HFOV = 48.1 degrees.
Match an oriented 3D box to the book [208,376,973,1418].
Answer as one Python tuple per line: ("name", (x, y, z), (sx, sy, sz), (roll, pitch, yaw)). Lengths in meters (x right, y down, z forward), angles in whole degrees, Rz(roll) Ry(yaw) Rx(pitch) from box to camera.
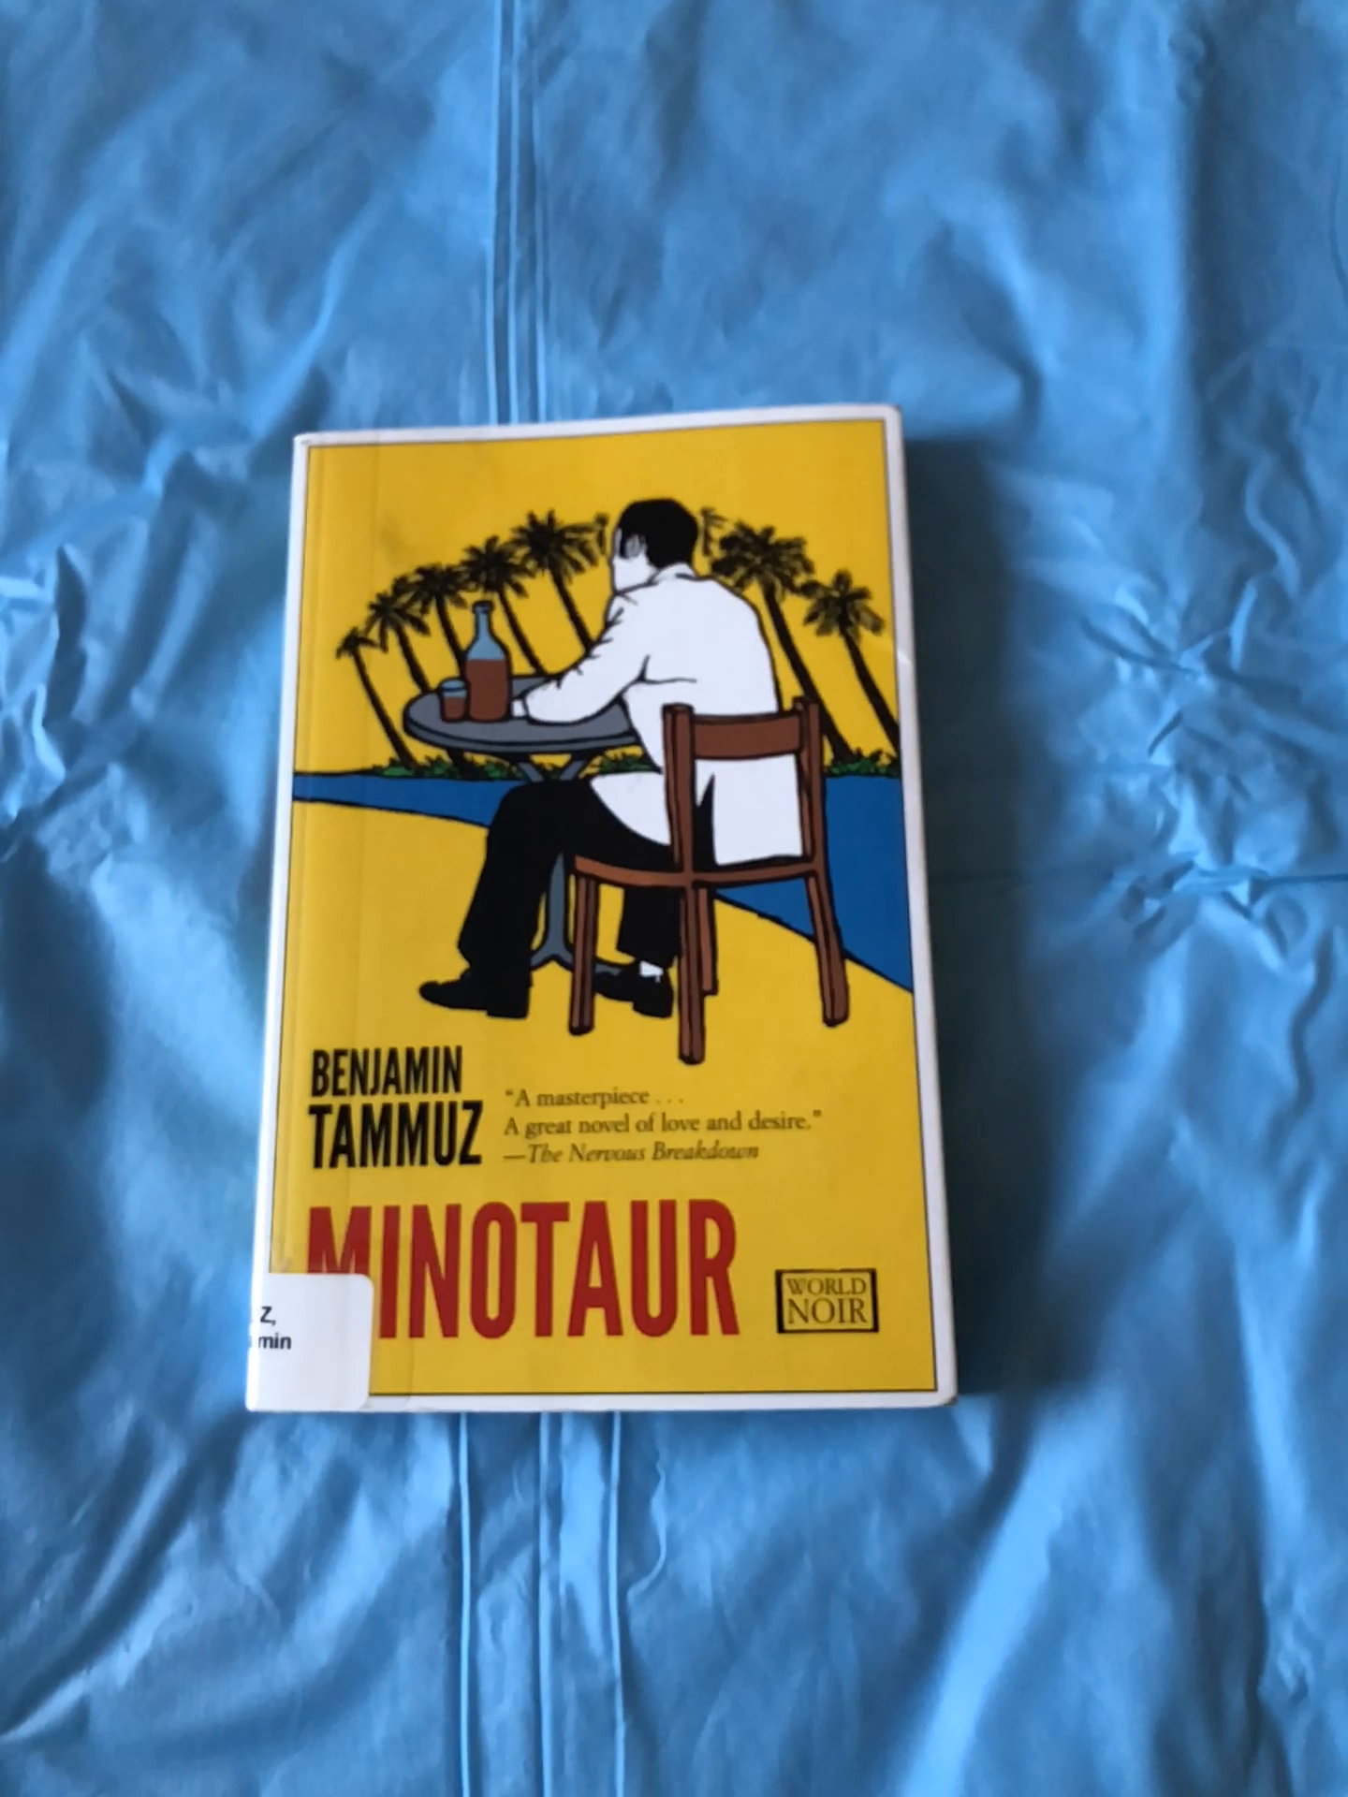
("book", (-0.017, -0.005, 0.318), (0.142, 0.028, 0.212), (-2, 76, 3))
